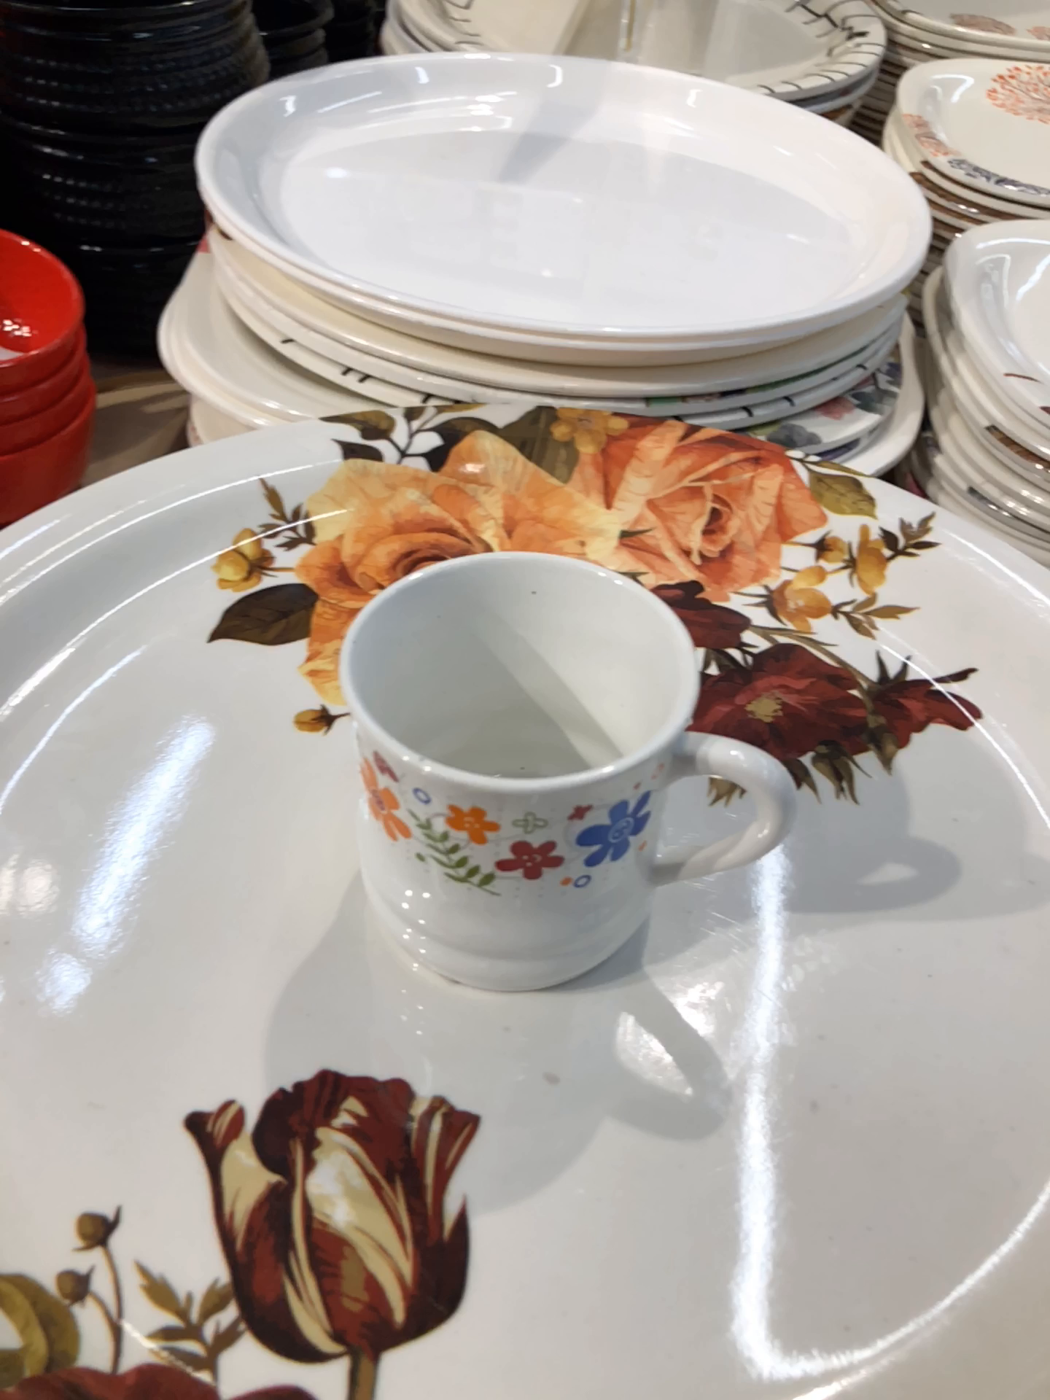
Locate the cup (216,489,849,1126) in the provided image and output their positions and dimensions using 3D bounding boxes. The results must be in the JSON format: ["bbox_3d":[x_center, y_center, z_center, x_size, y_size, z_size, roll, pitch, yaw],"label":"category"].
[{"bbox_3d":[0.003,0.018,0.227,0.090,0.070,0.070,19,46,14],"label":"cup"}]
